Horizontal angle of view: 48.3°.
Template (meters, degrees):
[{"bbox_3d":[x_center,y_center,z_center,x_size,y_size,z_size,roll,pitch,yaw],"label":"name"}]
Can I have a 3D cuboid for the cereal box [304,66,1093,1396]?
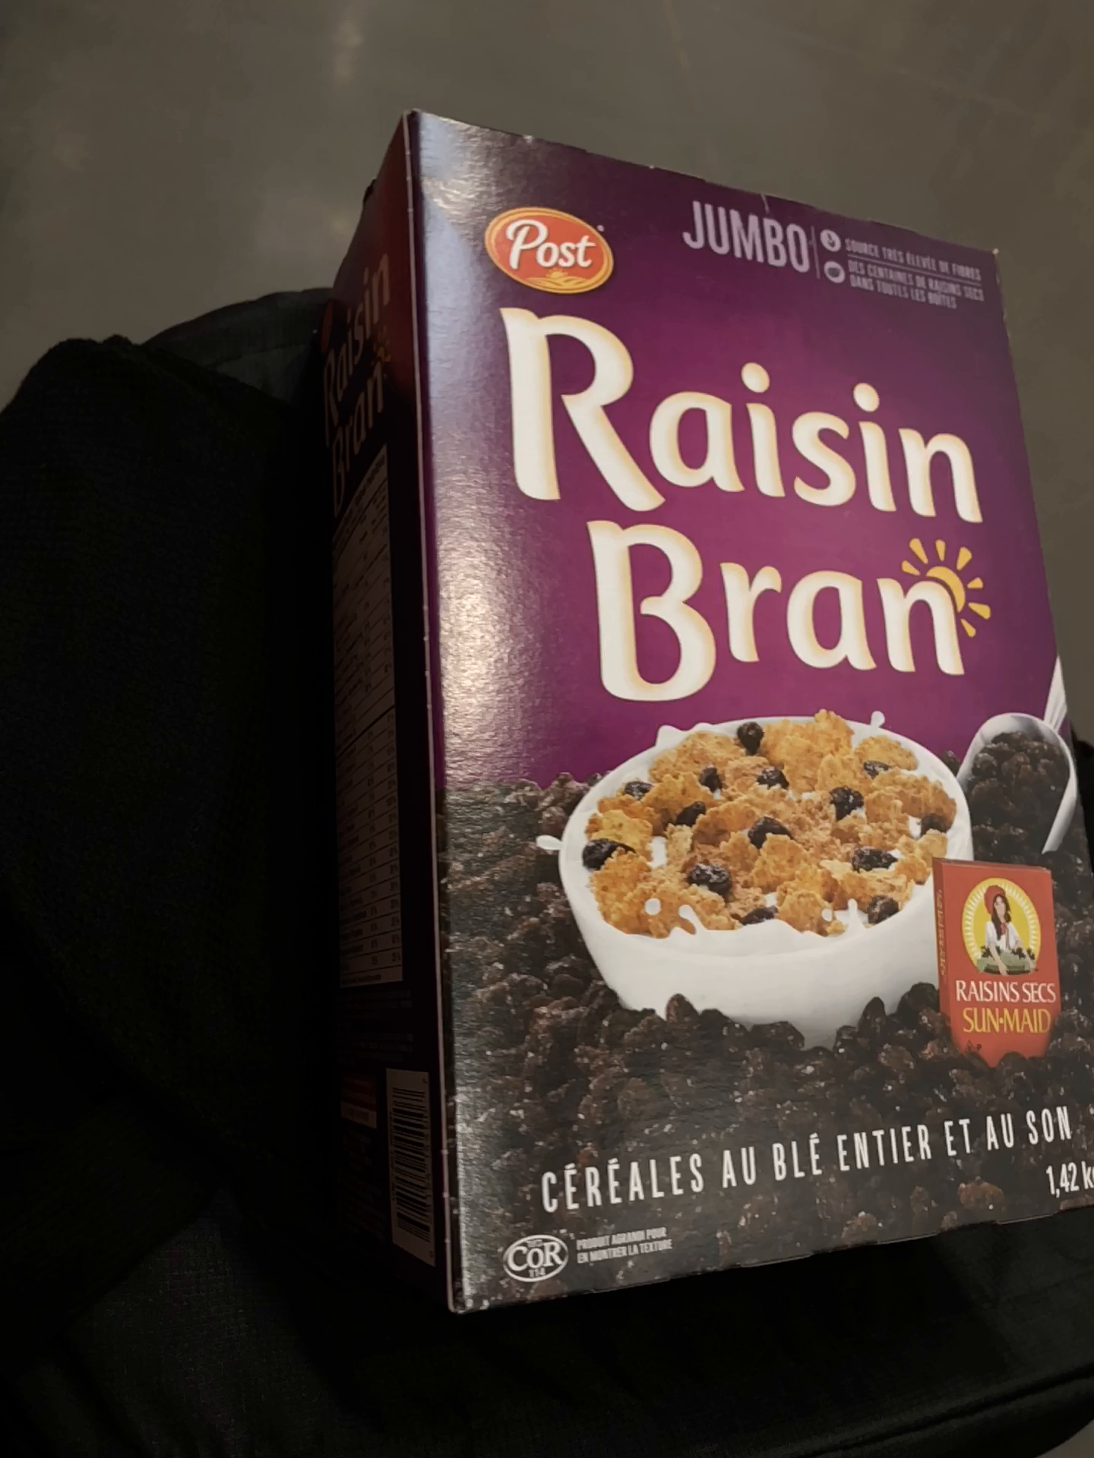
[{"bbox_3d":[0.047,-0.002,0.349,0.211,0.110,0.290,2,78,-22],"label":"cereal box"}]
